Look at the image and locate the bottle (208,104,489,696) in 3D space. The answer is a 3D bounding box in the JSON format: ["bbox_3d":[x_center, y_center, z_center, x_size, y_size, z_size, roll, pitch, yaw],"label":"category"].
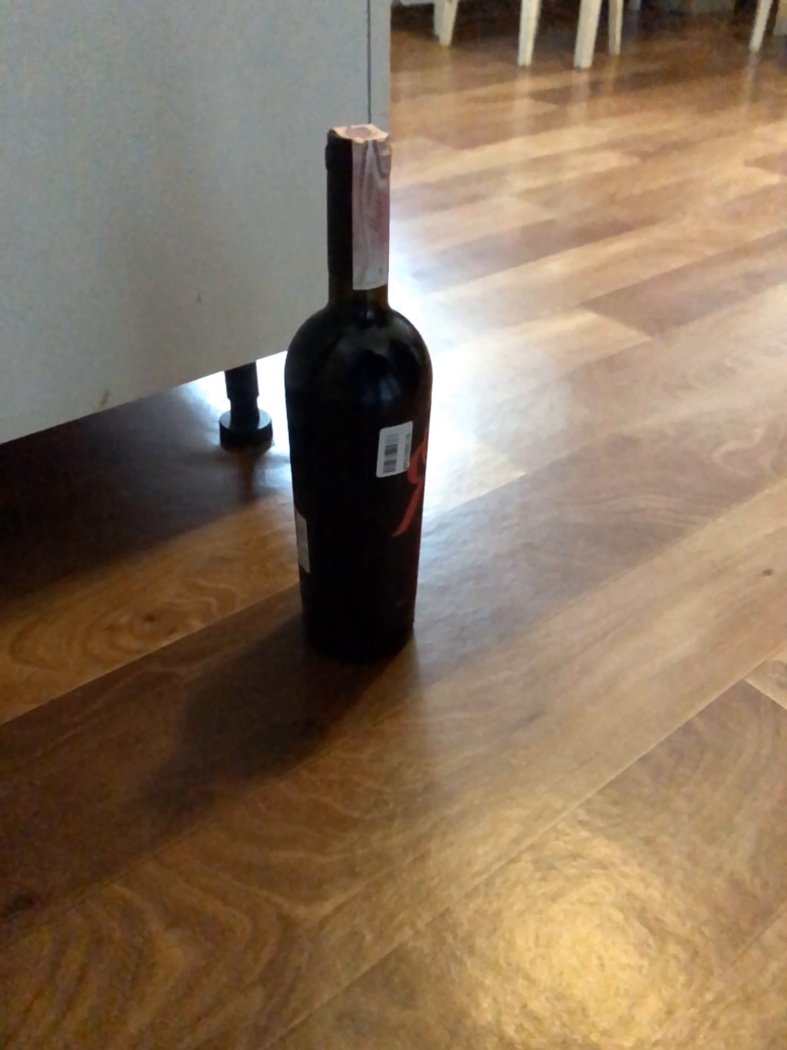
[{"bbox_3d":[-0.022,-0.055,0.474,0.090,0.296,0.090,0,38,0],"label":"bottle"}]
